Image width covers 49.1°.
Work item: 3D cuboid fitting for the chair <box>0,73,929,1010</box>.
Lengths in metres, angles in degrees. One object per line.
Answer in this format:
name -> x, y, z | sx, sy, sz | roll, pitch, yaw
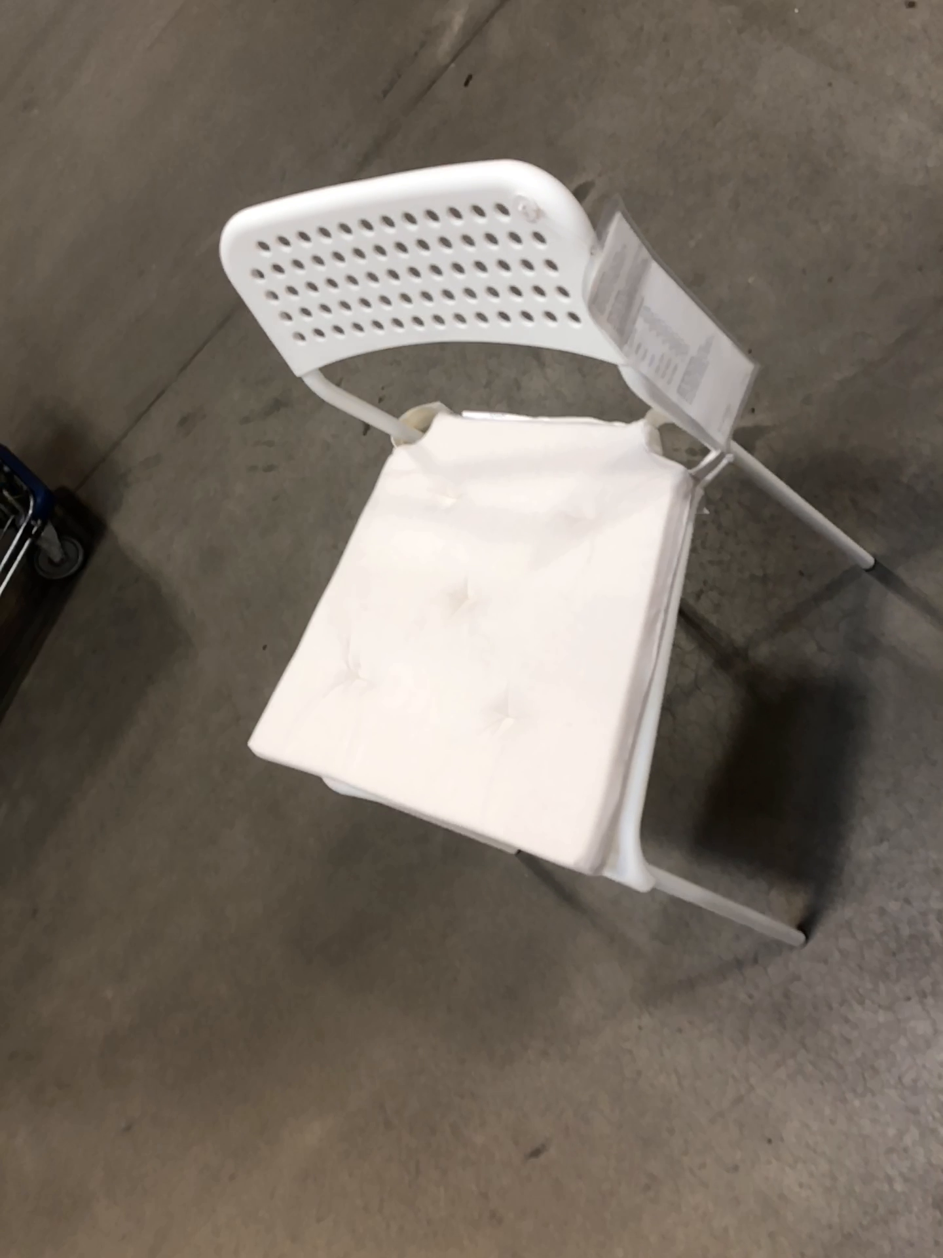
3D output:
chair -> 0.064, 0.014, 0.992 | 0.482, 0.737, 0.530 | 6, 76, 37
